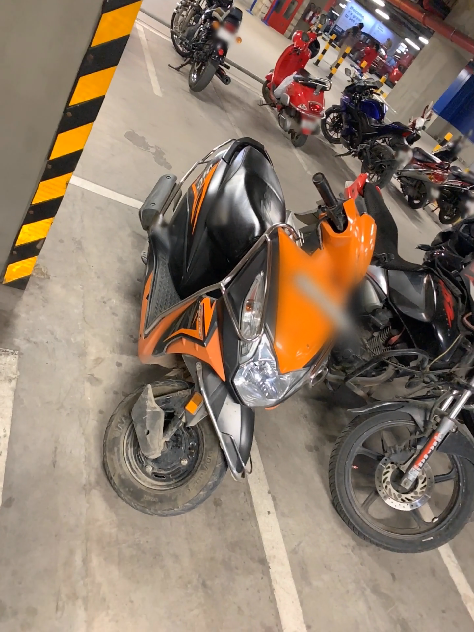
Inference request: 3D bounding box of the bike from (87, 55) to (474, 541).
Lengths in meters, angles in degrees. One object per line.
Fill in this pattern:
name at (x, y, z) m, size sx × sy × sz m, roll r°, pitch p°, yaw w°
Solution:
bike at (0.079, -0.148, 1.997) m, size 0.725 × 1.172 × 1.611 m, roll 22°, pitch 34°, yaw -23°
